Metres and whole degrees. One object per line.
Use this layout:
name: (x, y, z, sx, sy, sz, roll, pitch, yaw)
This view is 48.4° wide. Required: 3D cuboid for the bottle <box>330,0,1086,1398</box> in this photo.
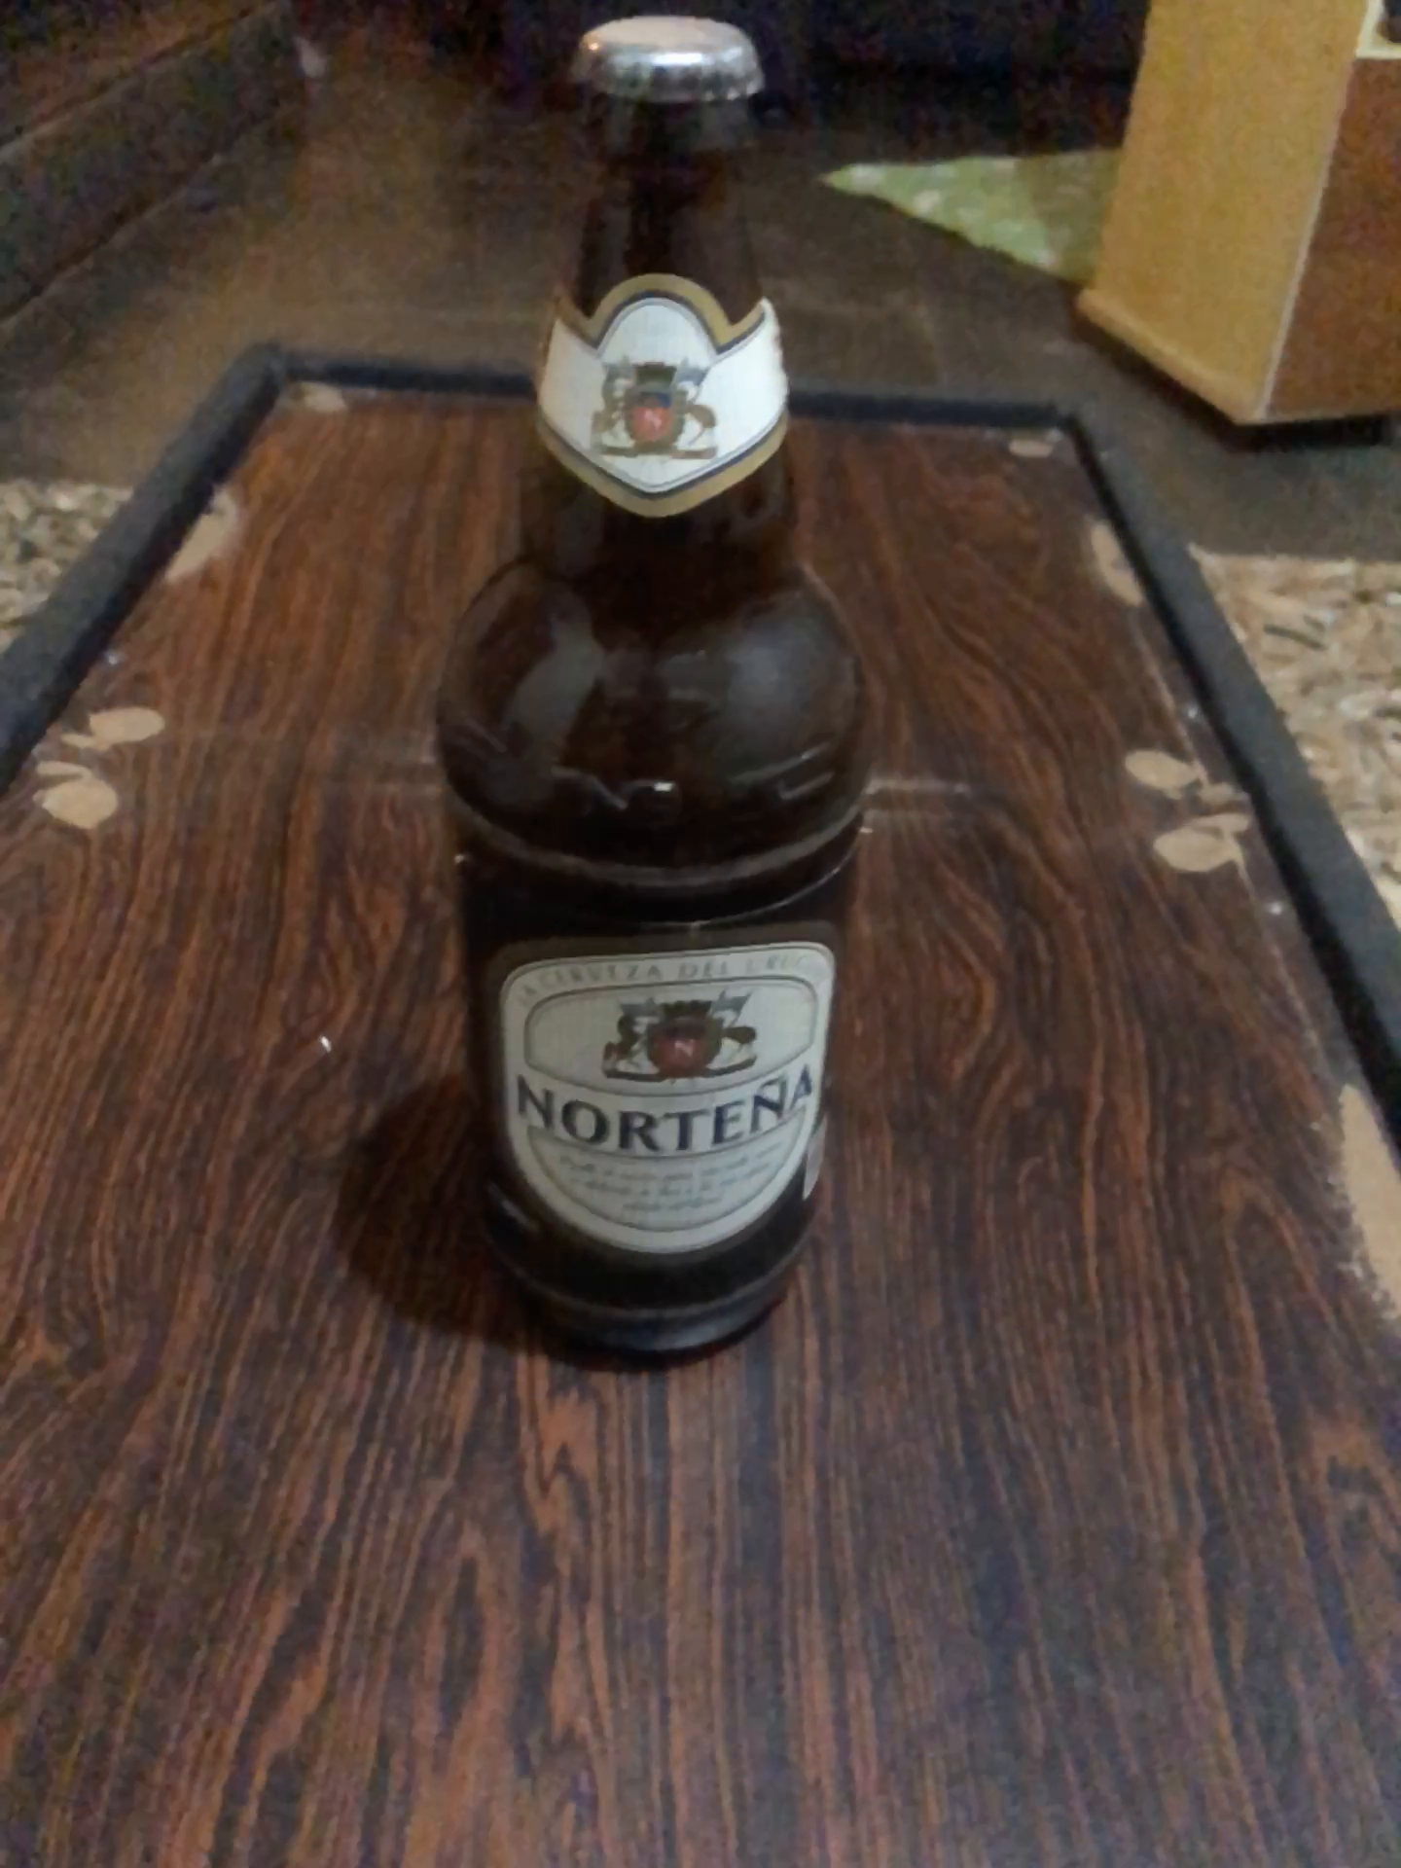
bottle: (-0.012, -0.035, 0.326, 0.100, 0.268, 0.101, 2, 37, -2)
